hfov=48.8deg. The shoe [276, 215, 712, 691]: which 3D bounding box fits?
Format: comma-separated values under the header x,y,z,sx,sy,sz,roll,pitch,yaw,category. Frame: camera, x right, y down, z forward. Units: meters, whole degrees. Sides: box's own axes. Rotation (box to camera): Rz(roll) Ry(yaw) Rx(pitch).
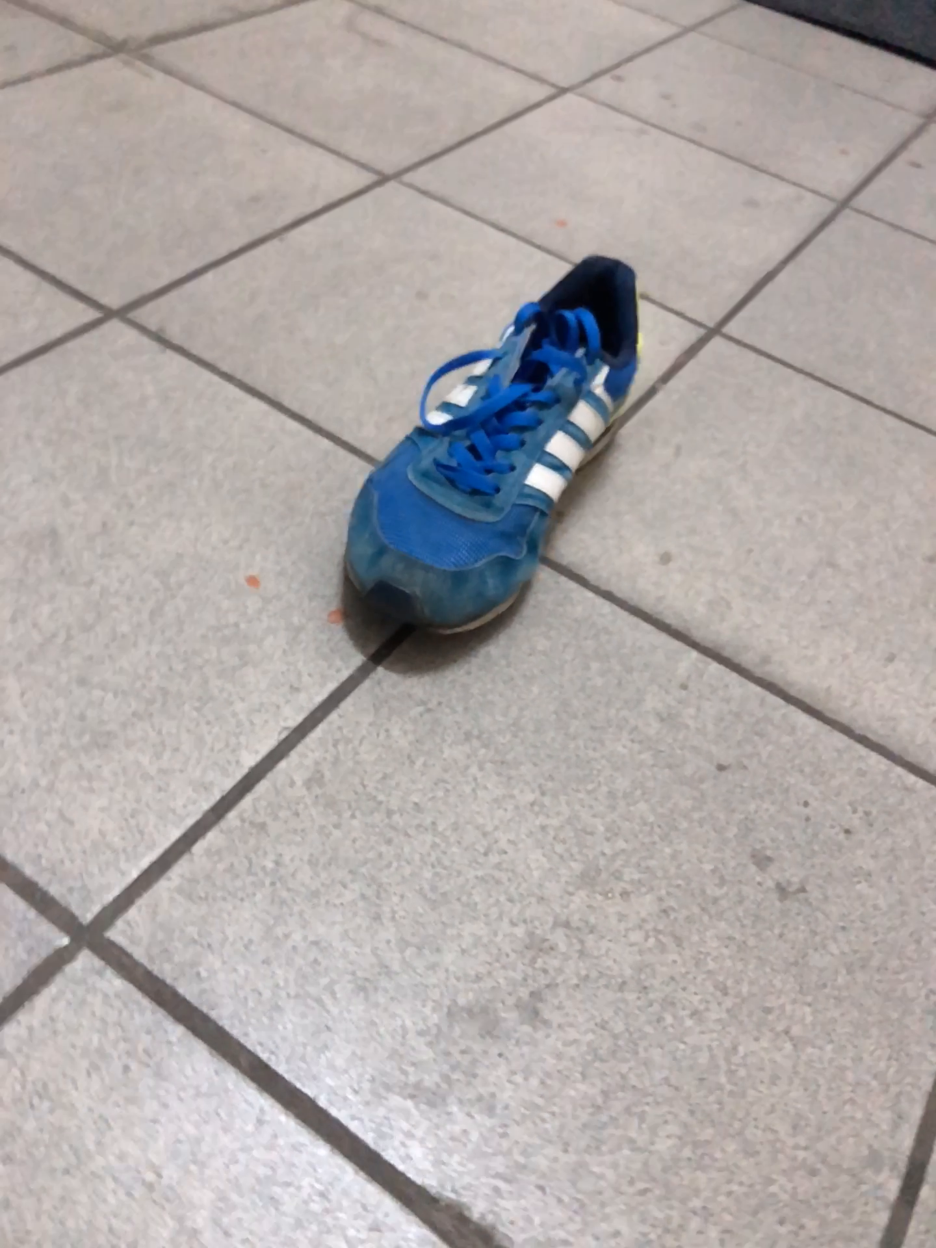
x,y,z,sx,sy,sz,roll,pitch,yaw,category
0.025,-0.112,0.579,0.110,0.099,0.293,27,48,12,shoe
